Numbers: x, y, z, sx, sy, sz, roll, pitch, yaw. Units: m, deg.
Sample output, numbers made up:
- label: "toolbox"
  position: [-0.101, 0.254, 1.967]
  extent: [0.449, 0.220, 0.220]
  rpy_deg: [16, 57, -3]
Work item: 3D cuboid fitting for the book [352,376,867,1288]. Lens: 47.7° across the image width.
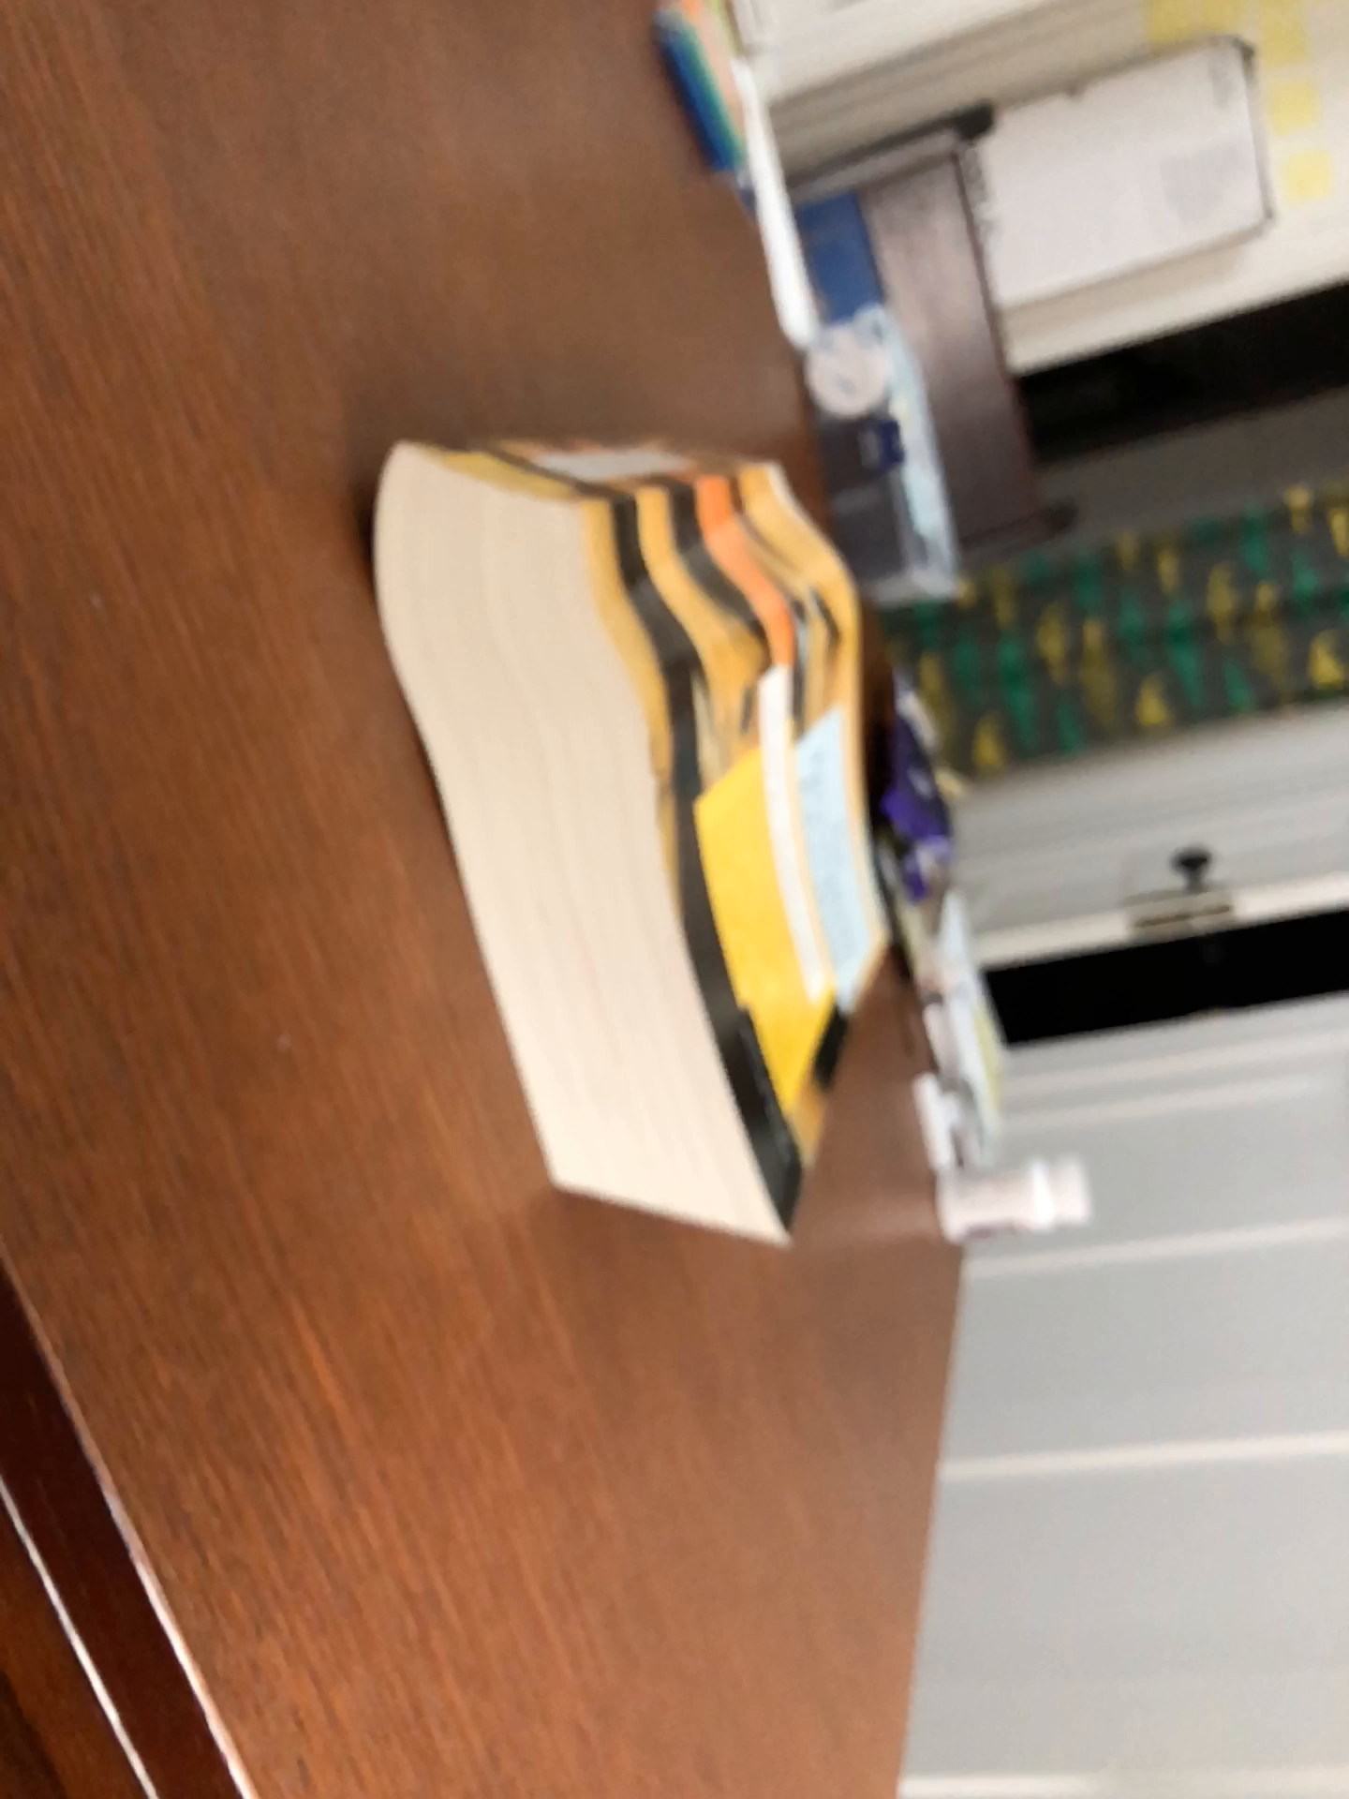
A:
- label: "book"
  position: [0.004, -0.044, 0.465]
  extent: [0.251, 0.060, 0.210]
  rpy_deg: [-53, 138, -66]
